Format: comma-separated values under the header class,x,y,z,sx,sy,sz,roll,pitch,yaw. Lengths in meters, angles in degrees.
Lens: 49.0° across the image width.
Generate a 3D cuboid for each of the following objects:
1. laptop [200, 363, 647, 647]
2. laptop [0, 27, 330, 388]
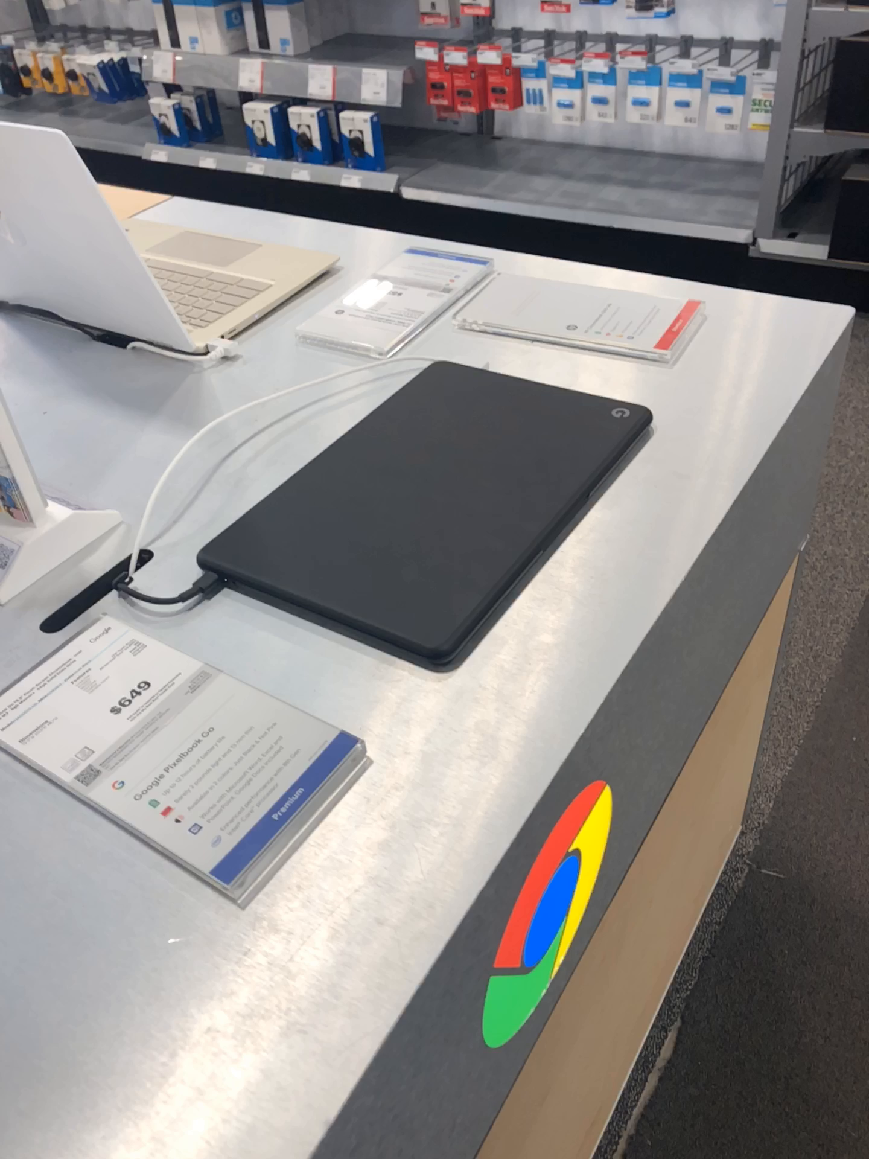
class,x,y,z,sx,sy,sz,roll,pitch,yaw
laptop,0.004,-0.074,0.679,0.194,0.001,0.297,19,44,27
laptop,-0.316,-0.374,0.916,0.303,0.206,0.275,19,46,25
